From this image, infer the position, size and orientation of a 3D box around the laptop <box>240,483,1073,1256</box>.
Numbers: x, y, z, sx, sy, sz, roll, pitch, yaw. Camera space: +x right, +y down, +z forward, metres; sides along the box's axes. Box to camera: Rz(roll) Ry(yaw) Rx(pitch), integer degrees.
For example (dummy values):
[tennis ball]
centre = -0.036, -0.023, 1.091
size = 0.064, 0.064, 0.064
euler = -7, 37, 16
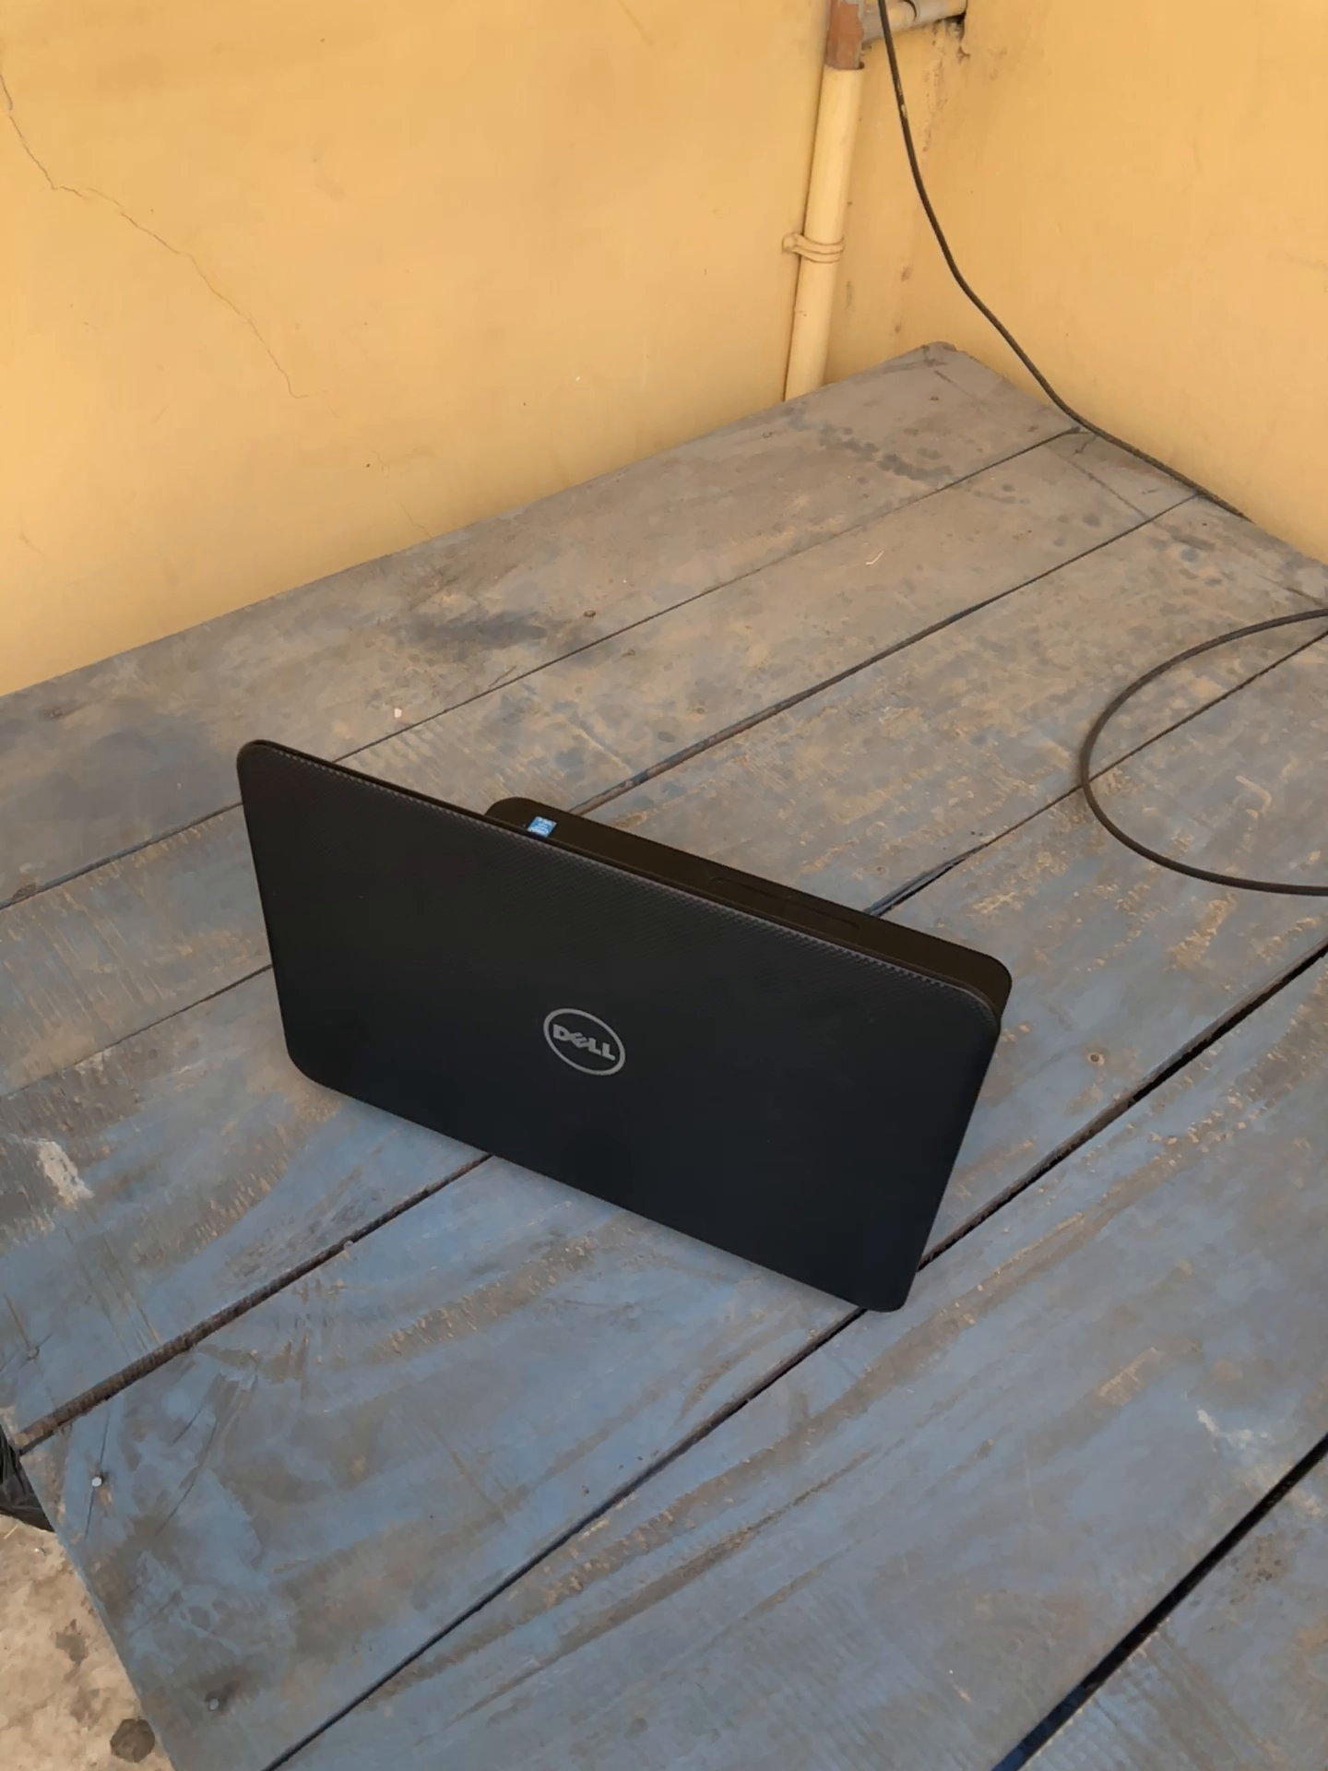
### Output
[laptop]
centre = 0.001, -0.016, 0.794
size = 0.340, 0.234, 0.226
euler = 19, 49, 14
